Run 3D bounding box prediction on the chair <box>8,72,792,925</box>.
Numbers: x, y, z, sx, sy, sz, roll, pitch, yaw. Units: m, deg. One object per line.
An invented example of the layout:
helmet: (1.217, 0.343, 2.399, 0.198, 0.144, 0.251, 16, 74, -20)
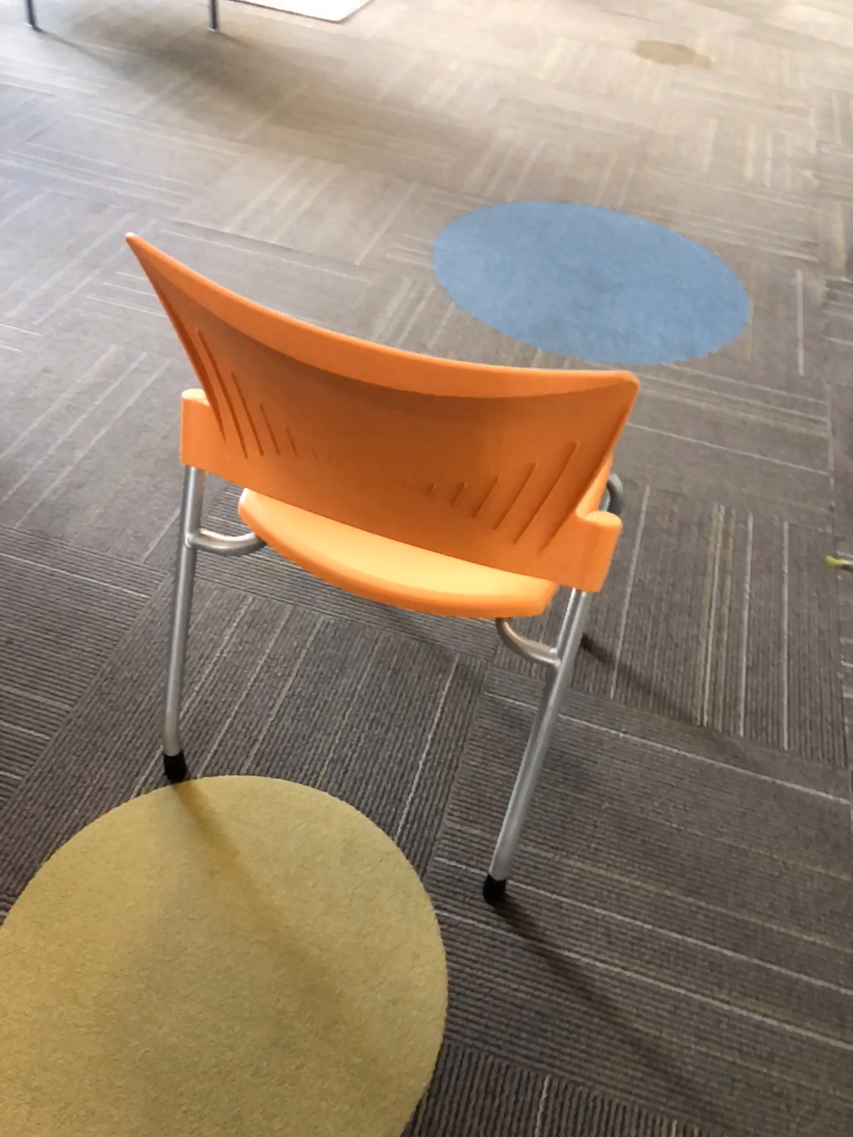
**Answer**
chair: (0.000, -0.094, 1.224, 0.640, 0.747, 0.613, 18, 45, 9)
